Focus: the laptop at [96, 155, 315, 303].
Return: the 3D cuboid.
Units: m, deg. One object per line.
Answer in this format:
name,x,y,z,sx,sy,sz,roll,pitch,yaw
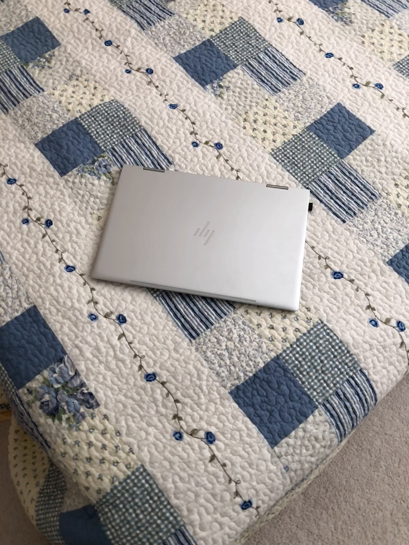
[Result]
laptop,0.009,-0.095,0.875,0.386,0.011,0.256,9,68,5
